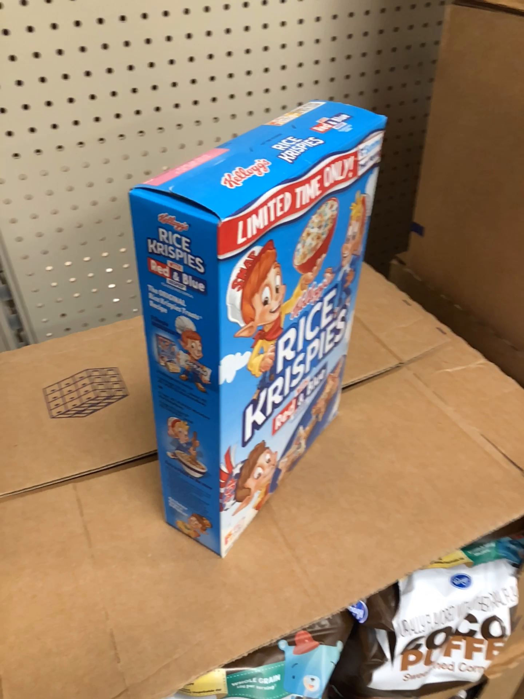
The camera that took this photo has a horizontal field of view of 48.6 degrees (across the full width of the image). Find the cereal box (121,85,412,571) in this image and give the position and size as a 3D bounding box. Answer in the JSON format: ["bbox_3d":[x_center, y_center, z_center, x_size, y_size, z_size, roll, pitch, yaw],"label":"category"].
[{"bbox_3d":[0.008,-0.010,0.407,0.060,0.279,0.200,25,44,23],"label":"cereal box"}]
